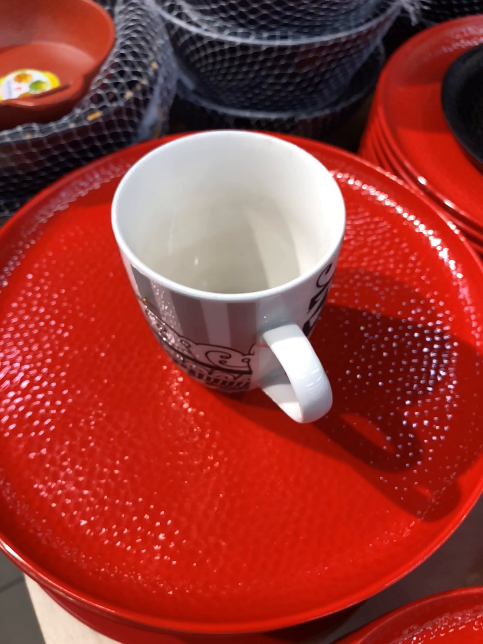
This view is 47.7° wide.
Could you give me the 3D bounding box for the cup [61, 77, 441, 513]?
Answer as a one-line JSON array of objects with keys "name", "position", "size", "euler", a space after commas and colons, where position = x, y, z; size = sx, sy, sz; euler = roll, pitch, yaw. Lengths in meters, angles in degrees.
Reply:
[{"name": "cup", "position": [-0.005, -0.011, 0.218], "size": [0.080, 0.100, 0.120], "euler": [-20, 58, -14]}]
